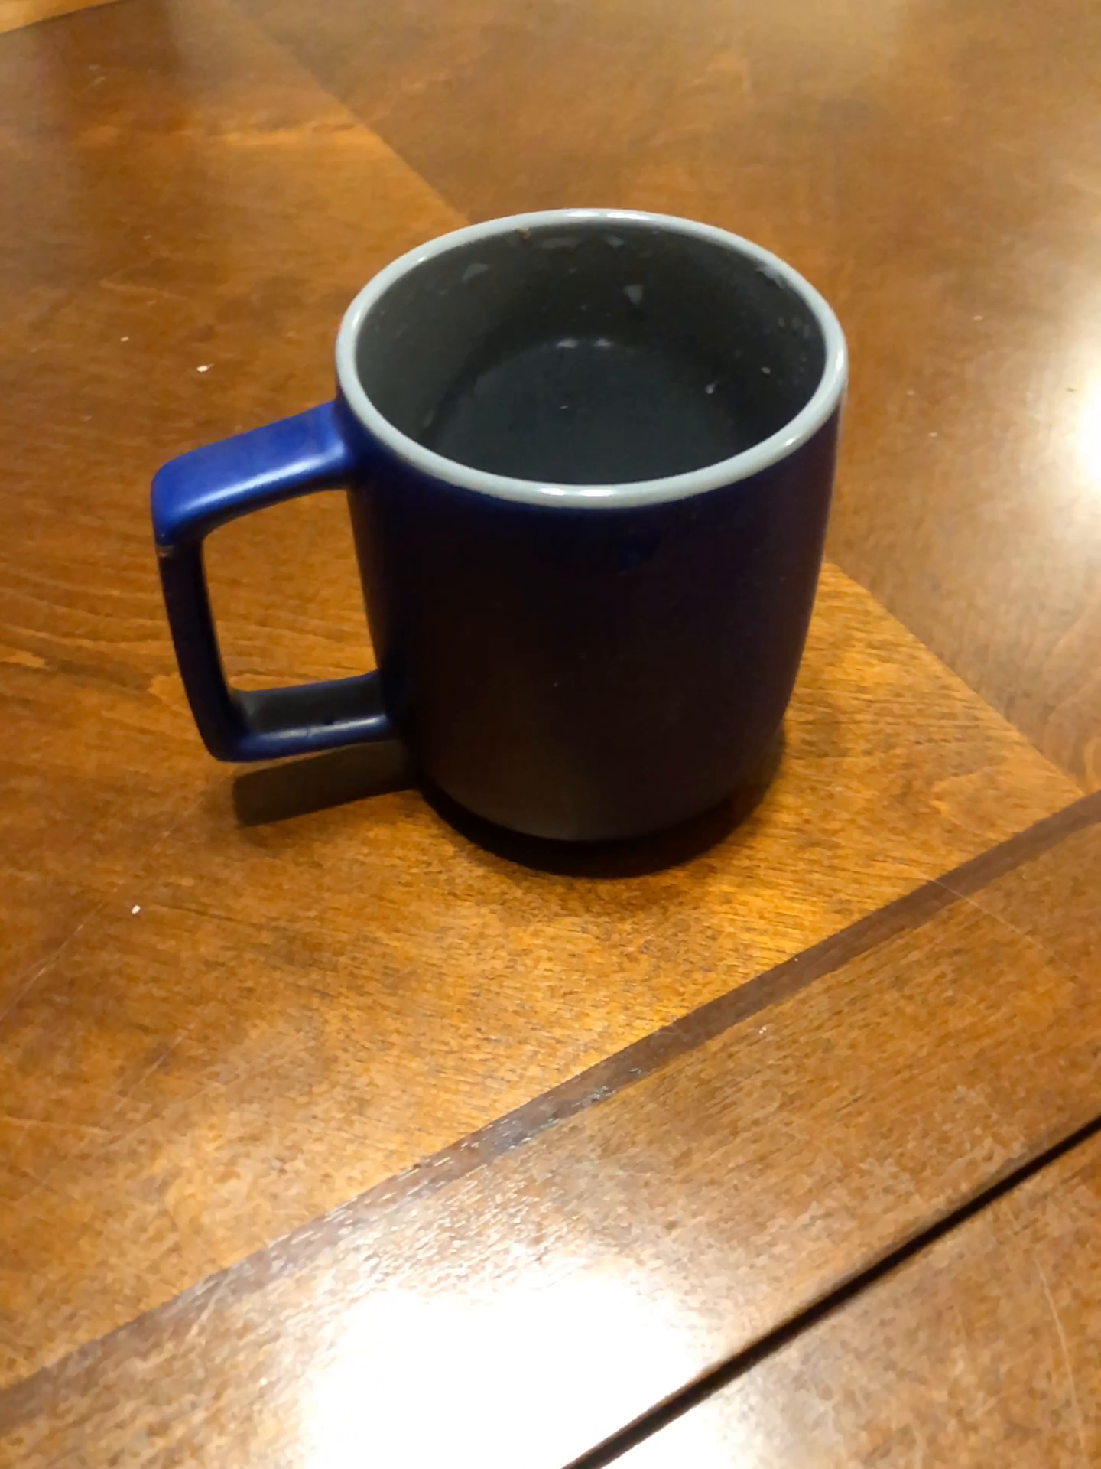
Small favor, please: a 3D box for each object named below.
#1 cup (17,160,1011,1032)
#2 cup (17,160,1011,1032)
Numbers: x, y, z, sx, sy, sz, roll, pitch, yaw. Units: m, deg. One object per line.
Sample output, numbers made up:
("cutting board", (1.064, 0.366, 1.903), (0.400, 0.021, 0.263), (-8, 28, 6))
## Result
("cup", (-0.013, -0.029, 0.236), (0.140, 0.099, 0.101), (-14, 51, -10))
("cup", (-0.013, -0.029, 0.236), (0.140, 0.099, 0.101), (-14, 51, -10))
